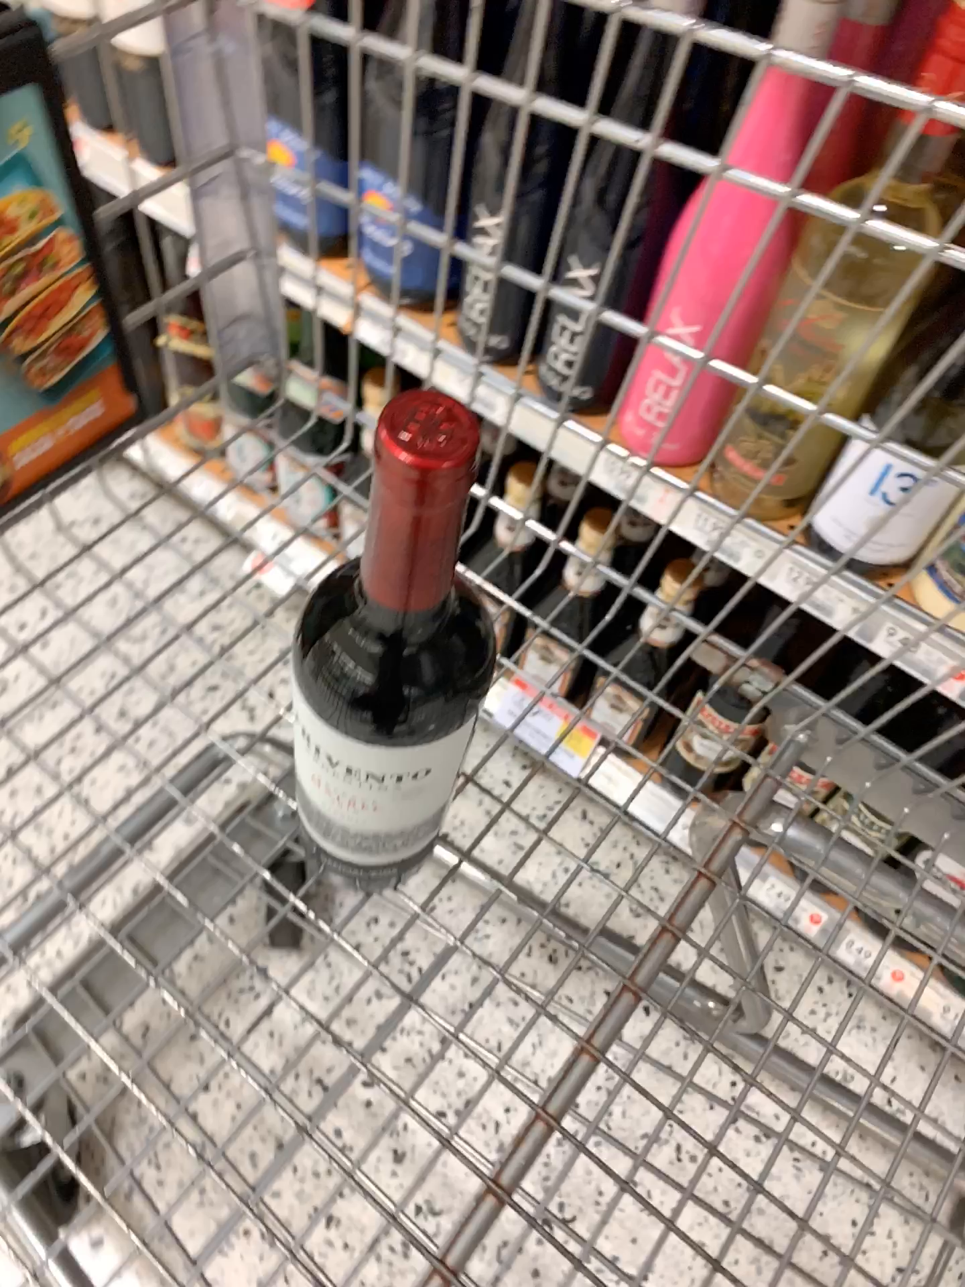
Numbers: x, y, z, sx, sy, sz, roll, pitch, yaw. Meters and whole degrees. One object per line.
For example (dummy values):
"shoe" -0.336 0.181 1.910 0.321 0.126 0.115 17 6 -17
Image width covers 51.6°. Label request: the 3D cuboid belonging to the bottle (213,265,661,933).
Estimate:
"bottle" -0.033 0.016 0.387 0.090 0.298 0.081 29 59 7
